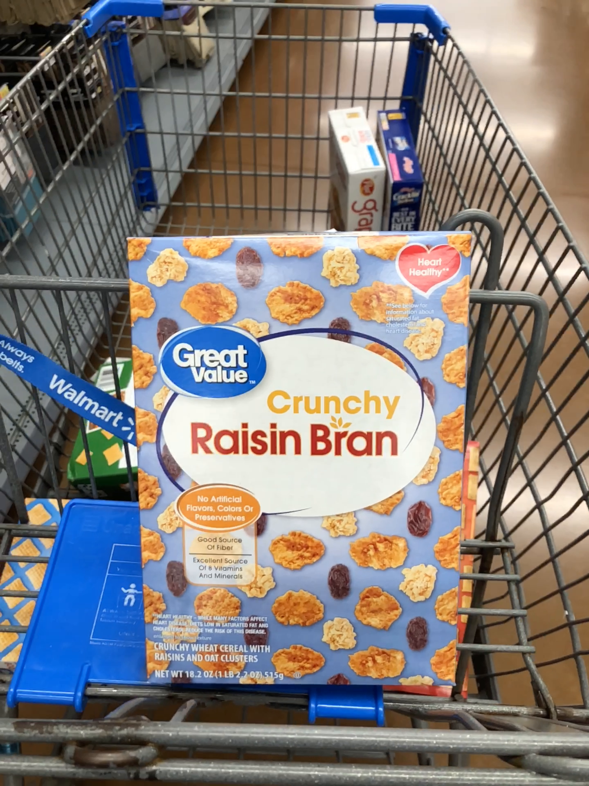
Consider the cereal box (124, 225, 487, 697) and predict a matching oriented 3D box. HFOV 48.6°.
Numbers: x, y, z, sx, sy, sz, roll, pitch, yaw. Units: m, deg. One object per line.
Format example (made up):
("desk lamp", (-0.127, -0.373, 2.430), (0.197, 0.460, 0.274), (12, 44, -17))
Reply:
("cereal box", (0.006, 0.041, 0.413), (0.200, 0.280, 0.070), (0, 8, 0))
